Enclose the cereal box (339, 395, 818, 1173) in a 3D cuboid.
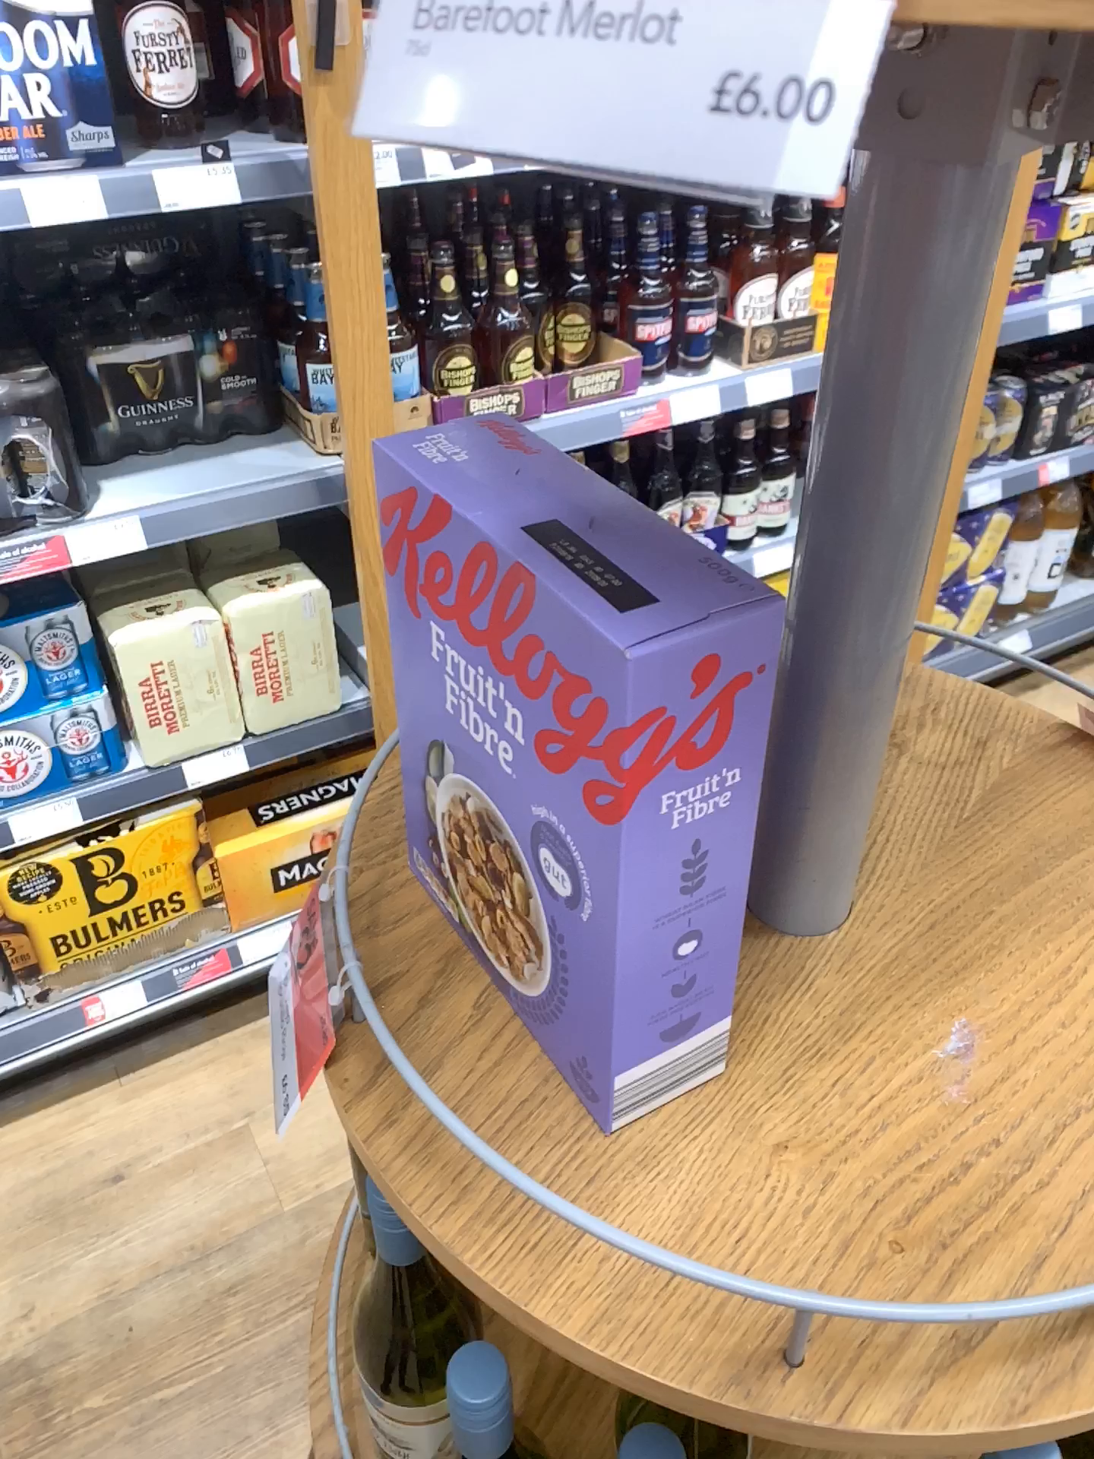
[{"bbox_3d":[-0.002,0.018,0.458,0.070,0.238,0.202,-19,41,-25],"label":"cereal box"}]
